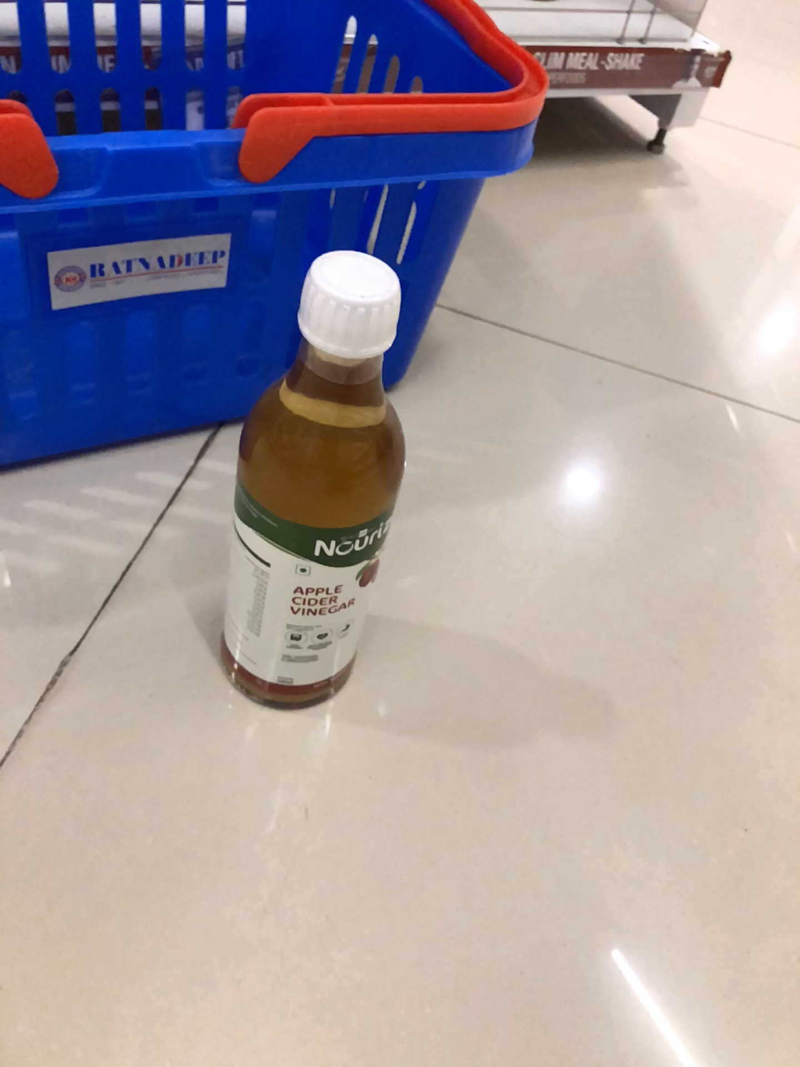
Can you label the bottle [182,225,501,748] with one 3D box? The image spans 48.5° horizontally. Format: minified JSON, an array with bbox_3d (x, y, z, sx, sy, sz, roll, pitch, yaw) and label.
[{"bbox_3d":[-0.039,-0.008,0.376,0.080,0.219,0.070,-18,55,-29],"label":"bottle"}]
